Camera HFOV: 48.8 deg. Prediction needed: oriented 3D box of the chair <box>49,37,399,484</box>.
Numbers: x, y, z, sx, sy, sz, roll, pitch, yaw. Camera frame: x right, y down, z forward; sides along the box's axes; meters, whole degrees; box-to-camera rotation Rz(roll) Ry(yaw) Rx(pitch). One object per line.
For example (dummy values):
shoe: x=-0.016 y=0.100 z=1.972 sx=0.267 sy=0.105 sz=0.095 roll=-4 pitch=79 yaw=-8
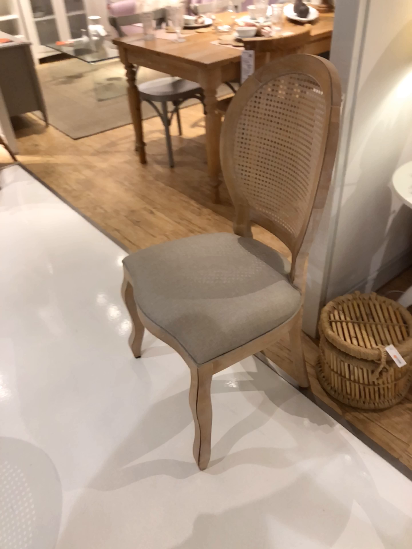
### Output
chair: x=0.019 y=-0.046 z=1.260 sx=0.521 sy=0.963 sz=0.593 roll=-21 pitch=40 yaw=-21
